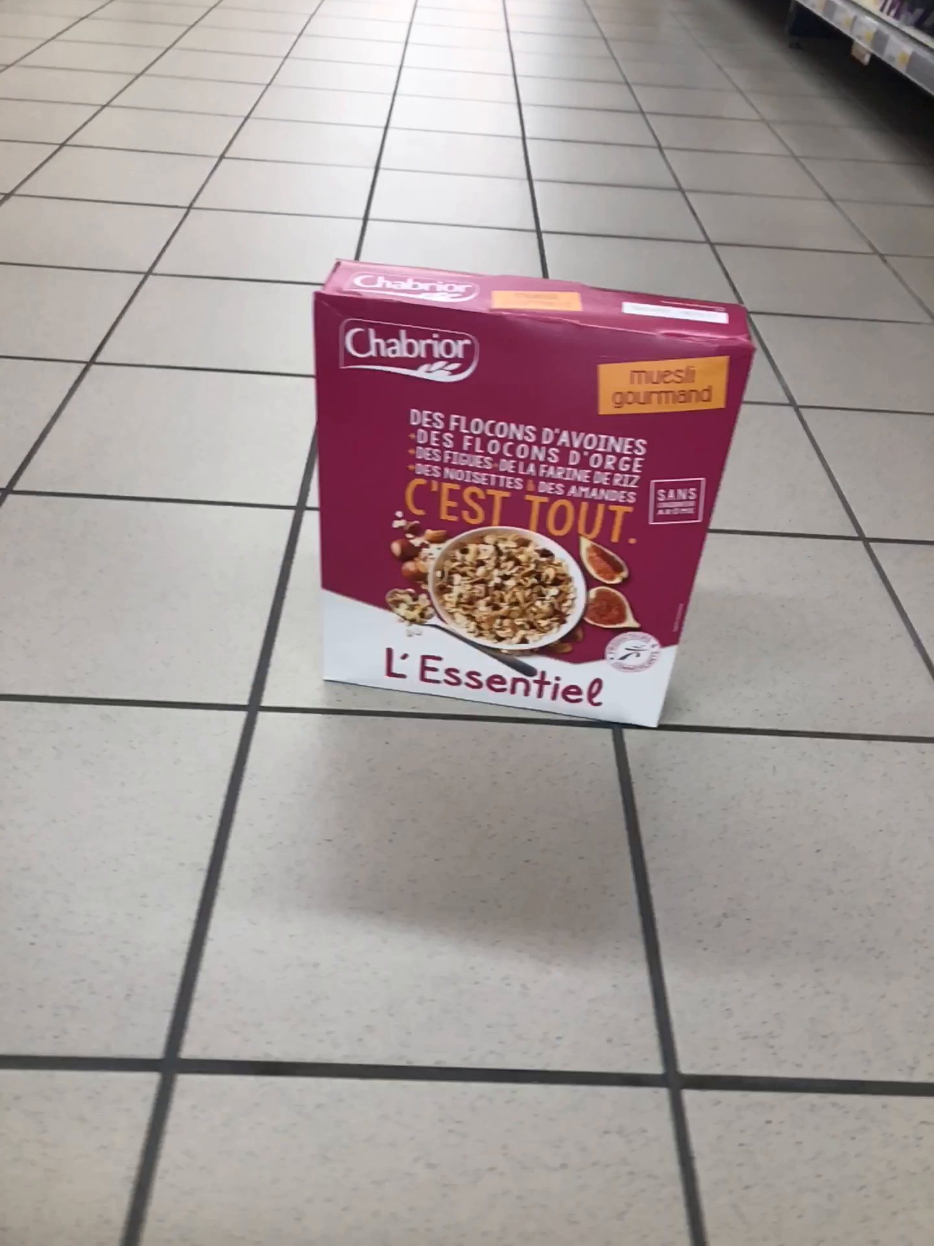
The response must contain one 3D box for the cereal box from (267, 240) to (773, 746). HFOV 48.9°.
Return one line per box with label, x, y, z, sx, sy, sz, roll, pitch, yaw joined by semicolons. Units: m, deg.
cereal box;0.017;-0.056;0.518;0.210;0.229;0.060;8;38;4
